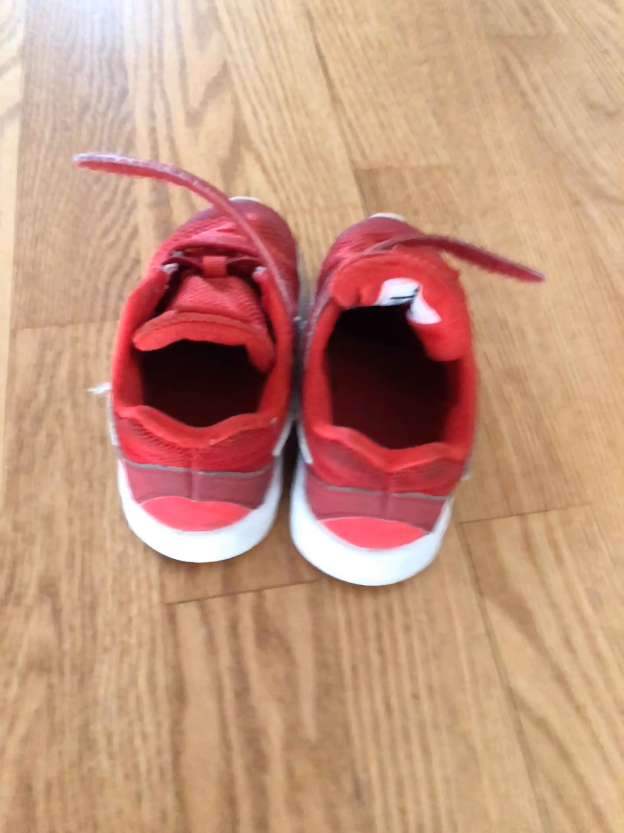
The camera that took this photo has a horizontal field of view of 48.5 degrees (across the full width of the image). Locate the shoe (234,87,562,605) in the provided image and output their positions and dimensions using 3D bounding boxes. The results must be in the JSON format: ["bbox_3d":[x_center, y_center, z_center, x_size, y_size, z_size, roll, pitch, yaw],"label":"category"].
[{"bbox_3d":[0.030,-0.033,0.260,0.088,0.069,0.178,8,59,-1],"label":"shoe"}]

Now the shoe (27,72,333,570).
[{"bbox_3d":[-0.036,-0.041,0.260,0.080,0.069,0.176,4,59,-3],"label":"shoe"}]
